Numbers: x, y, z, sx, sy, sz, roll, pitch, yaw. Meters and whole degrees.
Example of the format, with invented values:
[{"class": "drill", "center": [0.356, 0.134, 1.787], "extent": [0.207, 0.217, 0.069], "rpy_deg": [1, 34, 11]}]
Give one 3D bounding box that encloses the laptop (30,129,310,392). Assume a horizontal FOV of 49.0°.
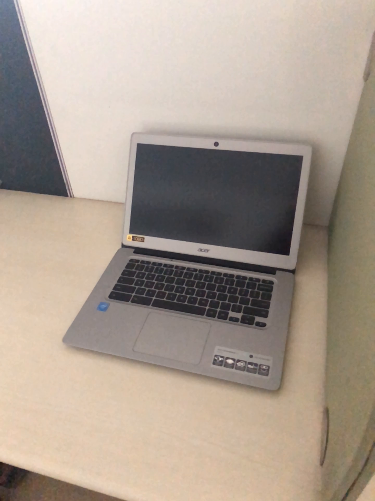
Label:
[{"class": "laptop", "center": [0.009, -0.020, 0.667], "extent": [0.322, 0.168, 0.367], "rpy_deg": [9, 43, 14]}]
